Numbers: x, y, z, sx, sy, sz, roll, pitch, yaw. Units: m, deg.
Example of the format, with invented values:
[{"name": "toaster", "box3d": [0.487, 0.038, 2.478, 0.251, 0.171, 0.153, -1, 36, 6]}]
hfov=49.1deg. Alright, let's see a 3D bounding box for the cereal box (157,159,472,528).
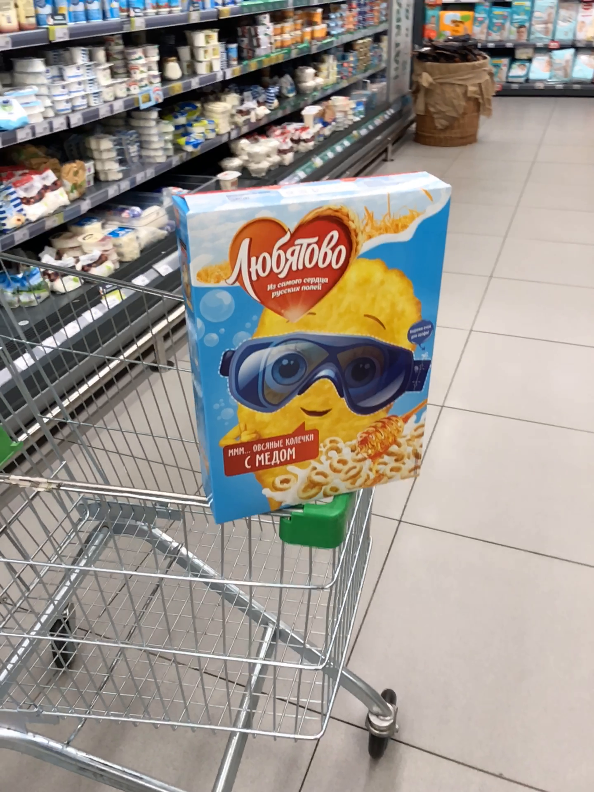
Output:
[{"name": "cereal box", "box3d": [0.014, -0.037, 0.495, 0.200, 0.248, 0.060, -11, 33, -16]}]
